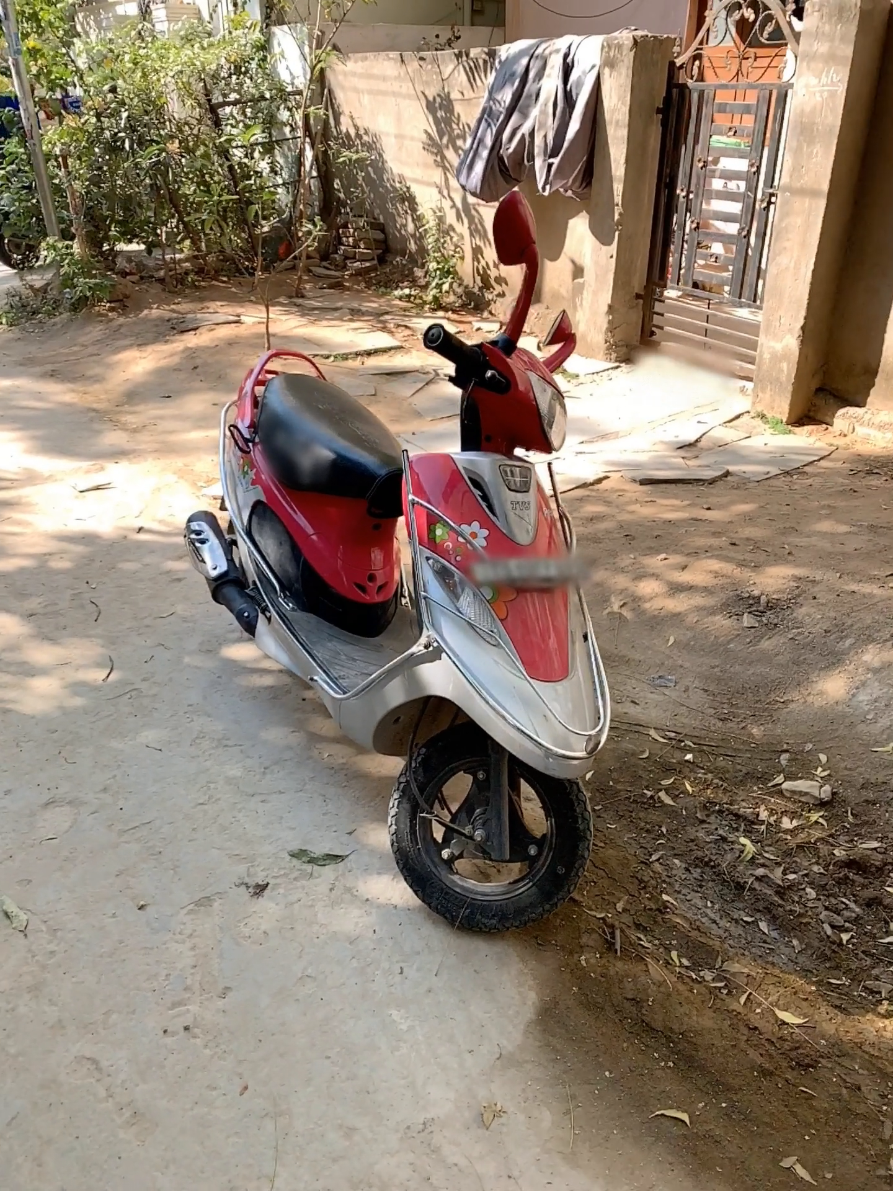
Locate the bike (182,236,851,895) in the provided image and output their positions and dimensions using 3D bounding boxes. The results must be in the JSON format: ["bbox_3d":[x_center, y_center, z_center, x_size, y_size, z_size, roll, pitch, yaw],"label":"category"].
[{"bbox_3d":[-0.017,-0.214,2.116,0.484,1.037,1.498,-19,33,-31],"label":"bike"}]
